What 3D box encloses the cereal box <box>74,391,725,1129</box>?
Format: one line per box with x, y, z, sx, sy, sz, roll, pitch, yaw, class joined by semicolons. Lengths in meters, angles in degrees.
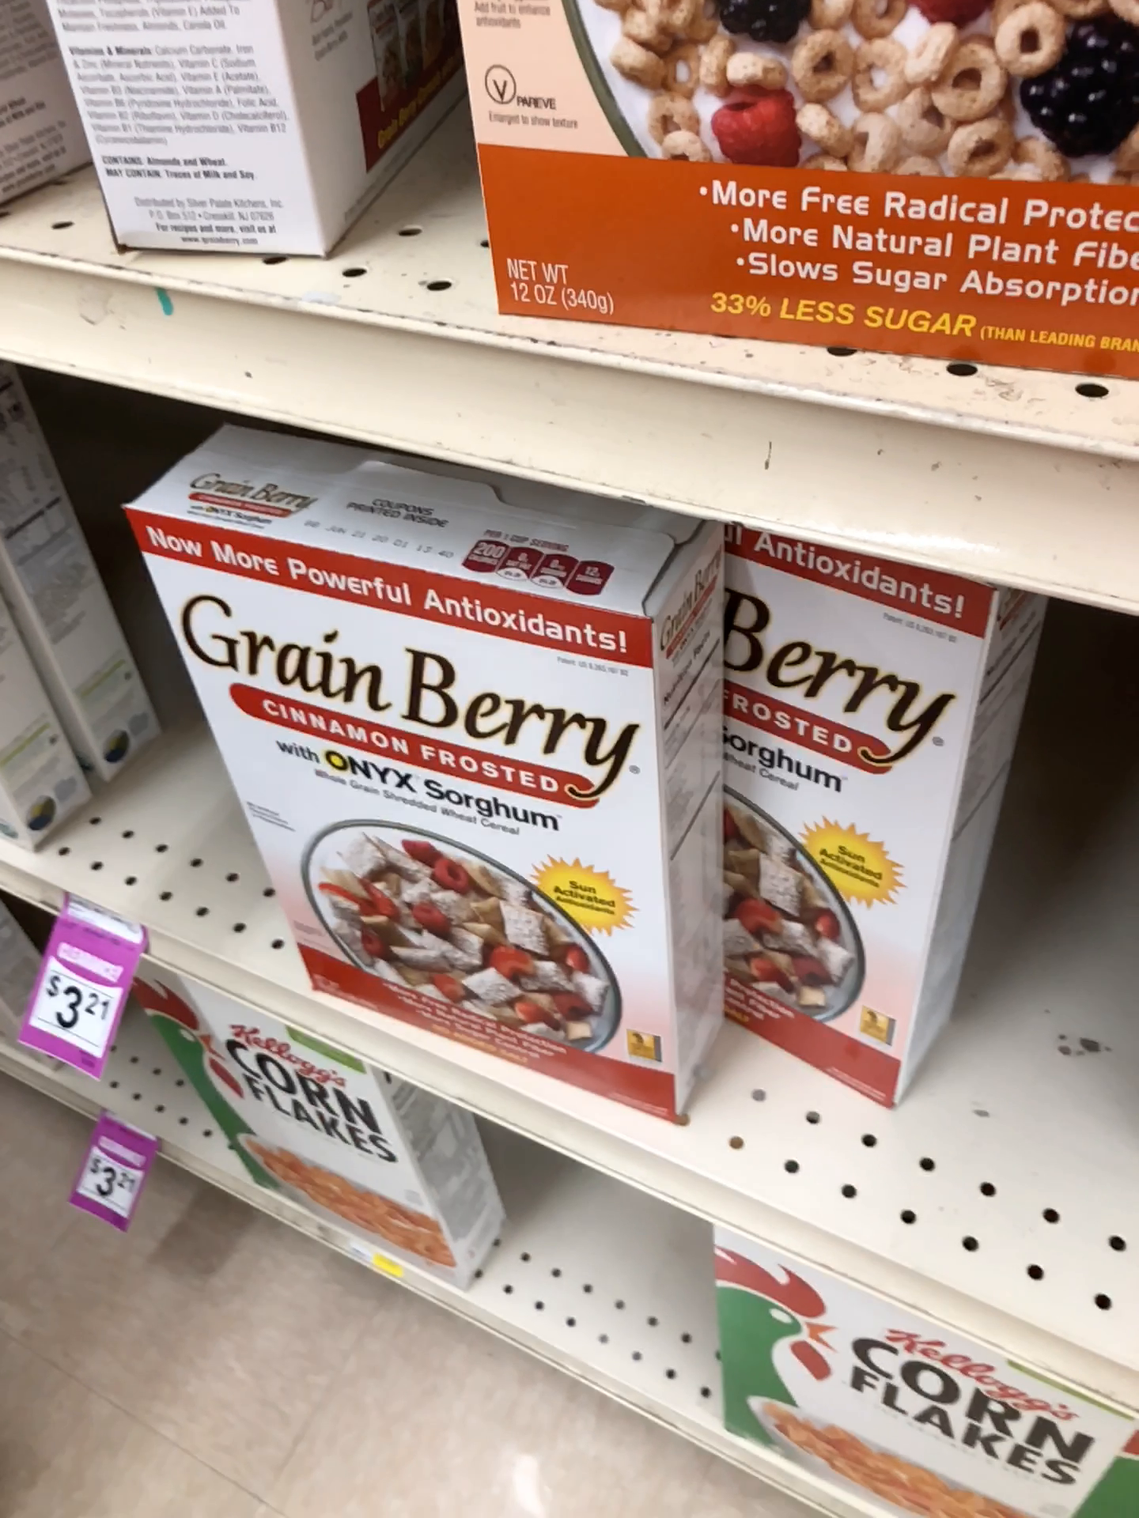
-0.045;0.013;0.499;0.200;0.279;0.070;15;49;21;cereal box
